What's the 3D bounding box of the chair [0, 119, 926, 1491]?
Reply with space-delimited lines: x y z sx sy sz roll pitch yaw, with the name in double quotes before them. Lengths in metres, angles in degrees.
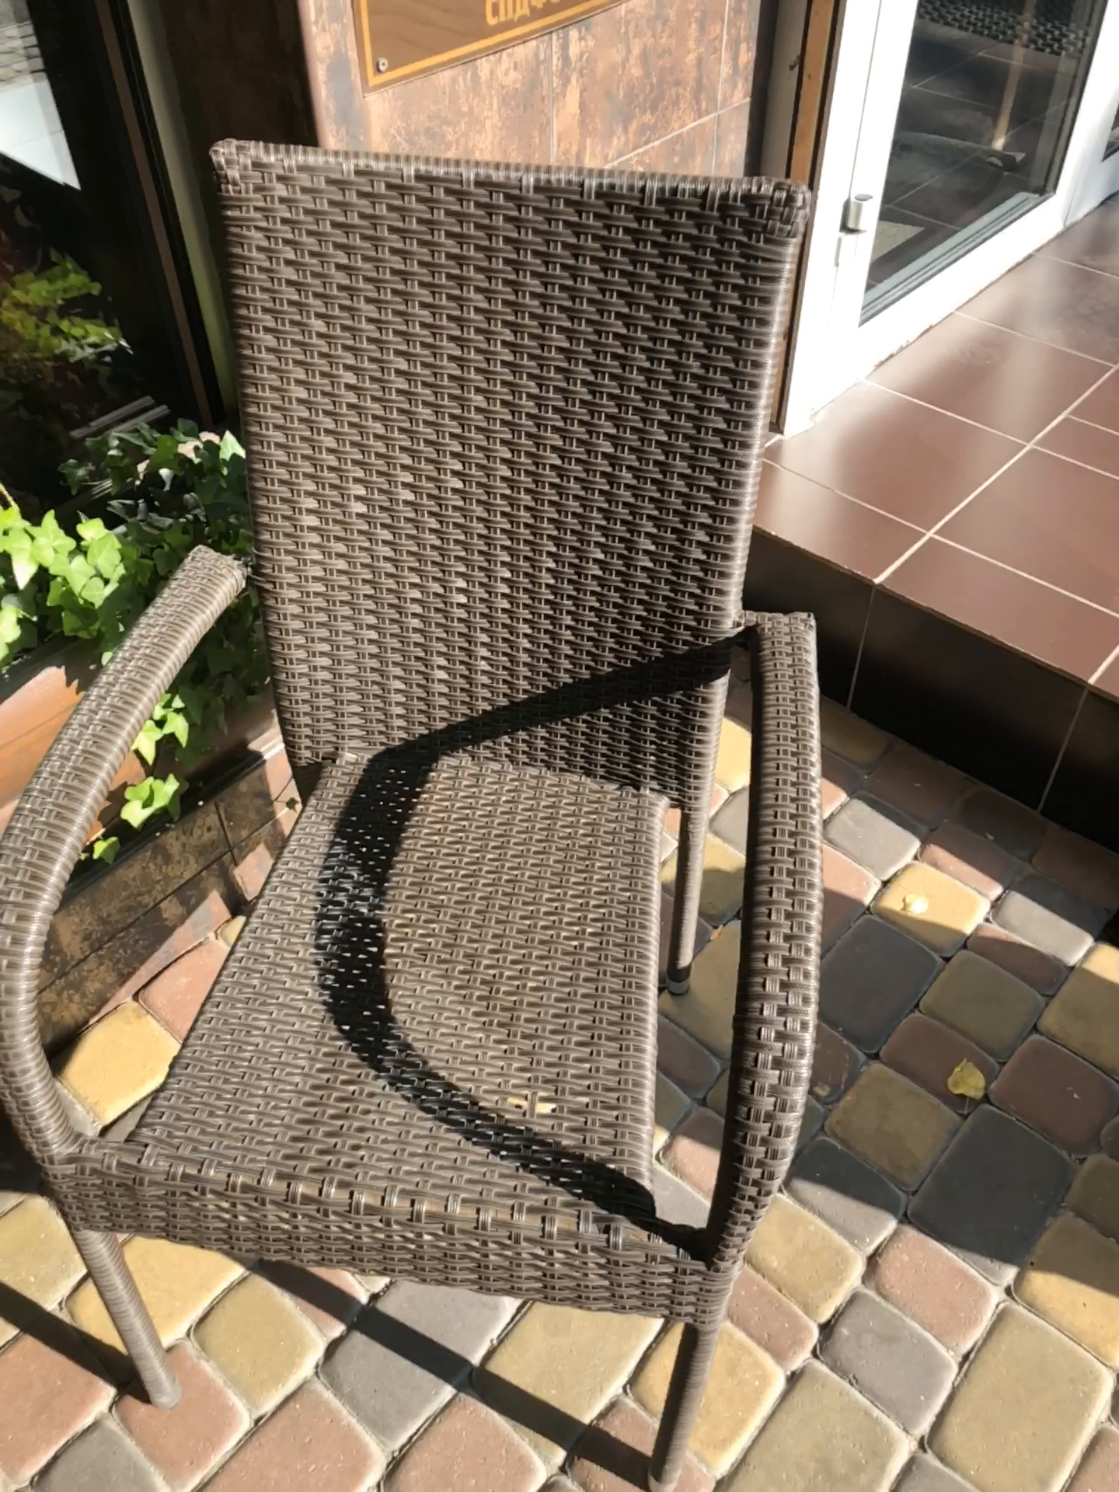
"chair" -0.089 0.092 0.928 0.520 0.847 0.582 7 46 7
